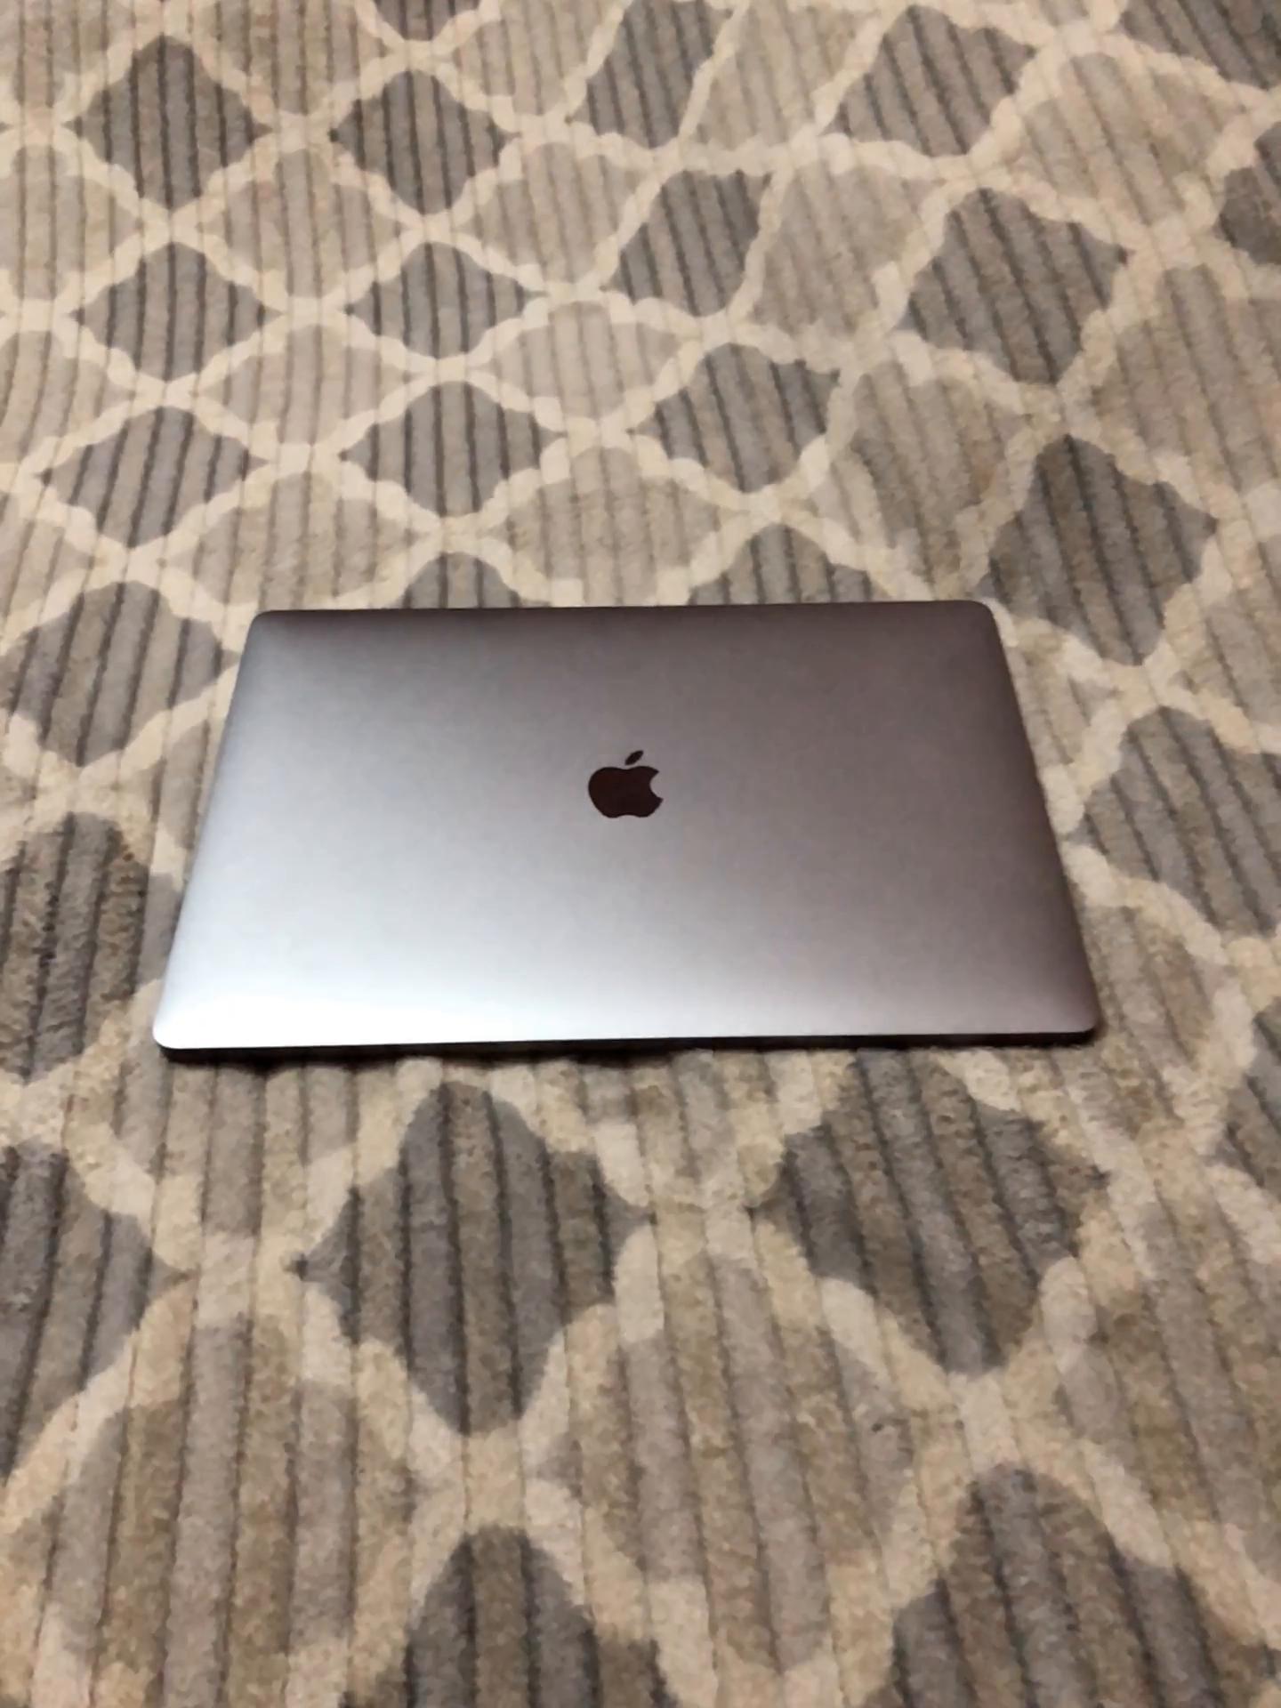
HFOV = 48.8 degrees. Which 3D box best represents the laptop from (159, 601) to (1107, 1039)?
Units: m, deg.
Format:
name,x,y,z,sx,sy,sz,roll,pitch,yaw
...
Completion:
name,x,y,z,sx,sy,sz,roll,pitch,yaw
laptop,-0.006,-0.027,0.615,0.358,0.007,0.247,-1,50,0
